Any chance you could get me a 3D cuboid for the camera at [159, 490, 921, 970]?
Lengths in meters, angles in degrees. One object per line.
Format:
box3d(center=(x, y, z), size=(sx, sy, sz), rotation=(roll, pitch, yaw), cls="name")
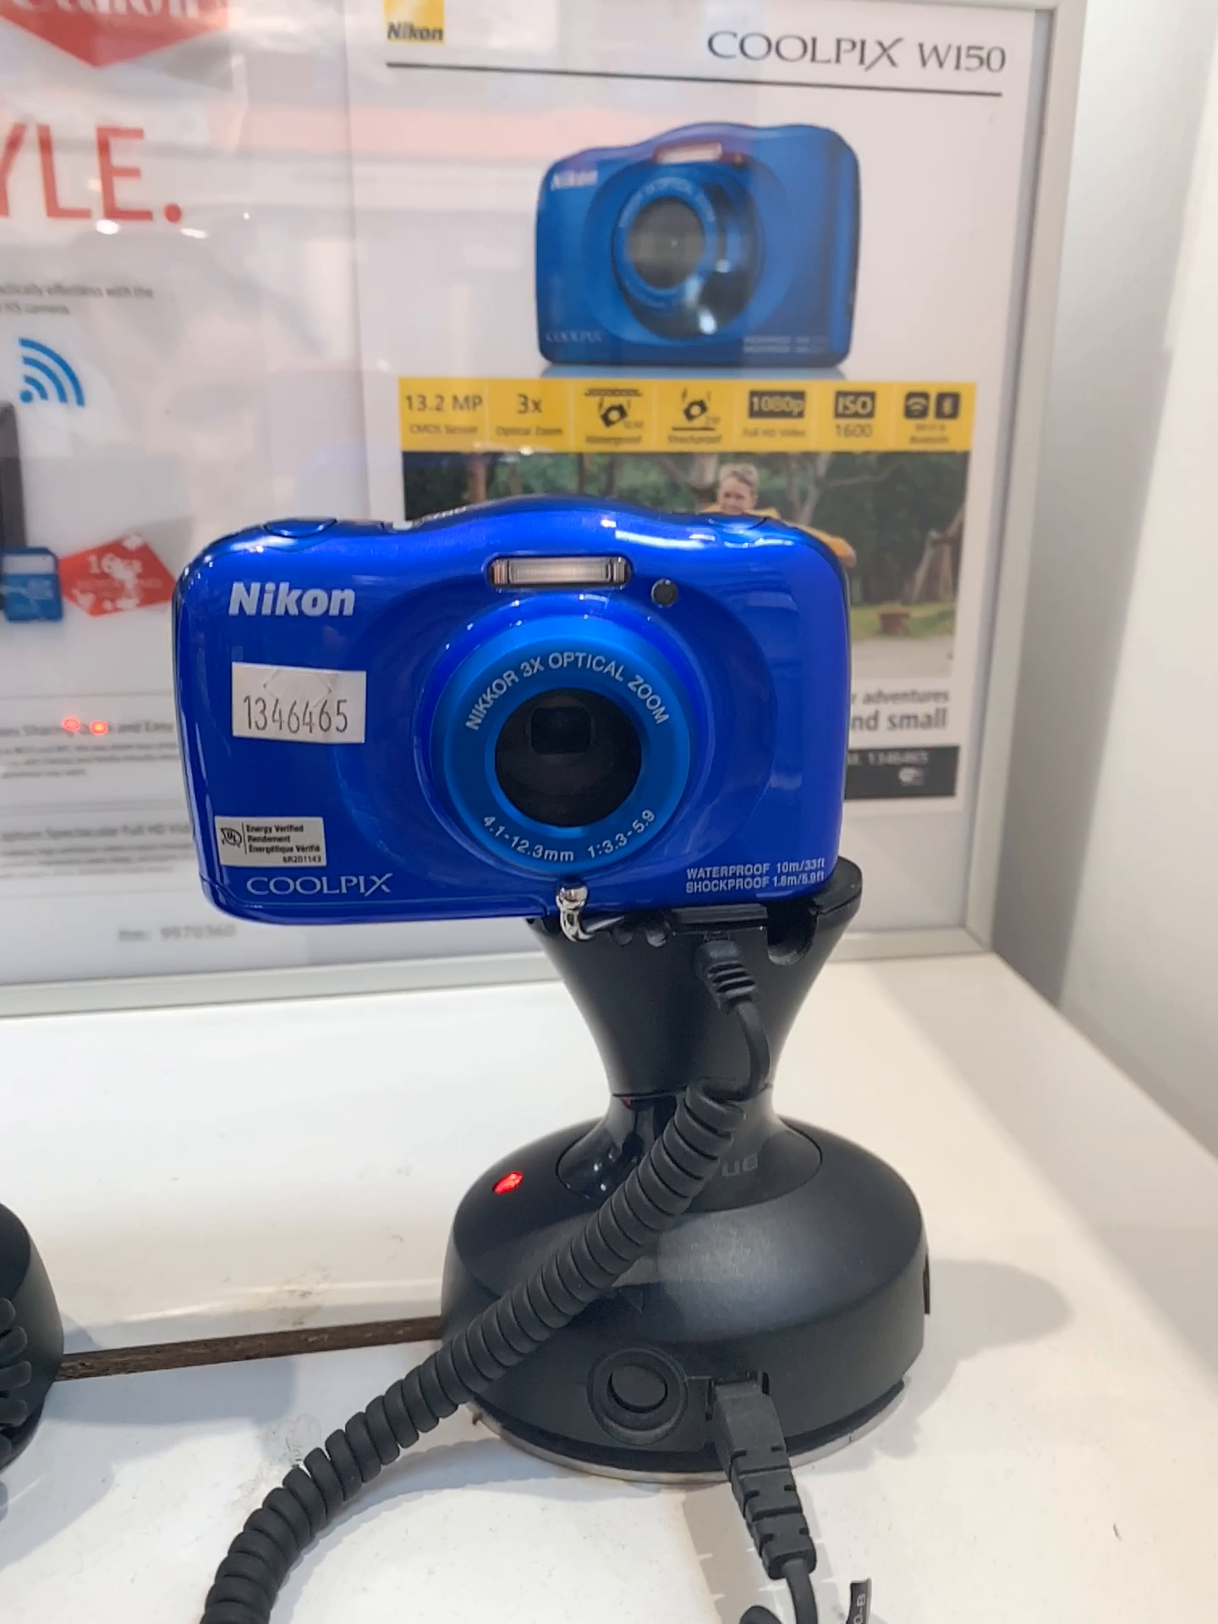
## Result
box3d(center=(-0.011, -0.016, 0.199), size=(0.101, 0.063, 0.046), rotation=(-2, 17, -8), cls="camera")
